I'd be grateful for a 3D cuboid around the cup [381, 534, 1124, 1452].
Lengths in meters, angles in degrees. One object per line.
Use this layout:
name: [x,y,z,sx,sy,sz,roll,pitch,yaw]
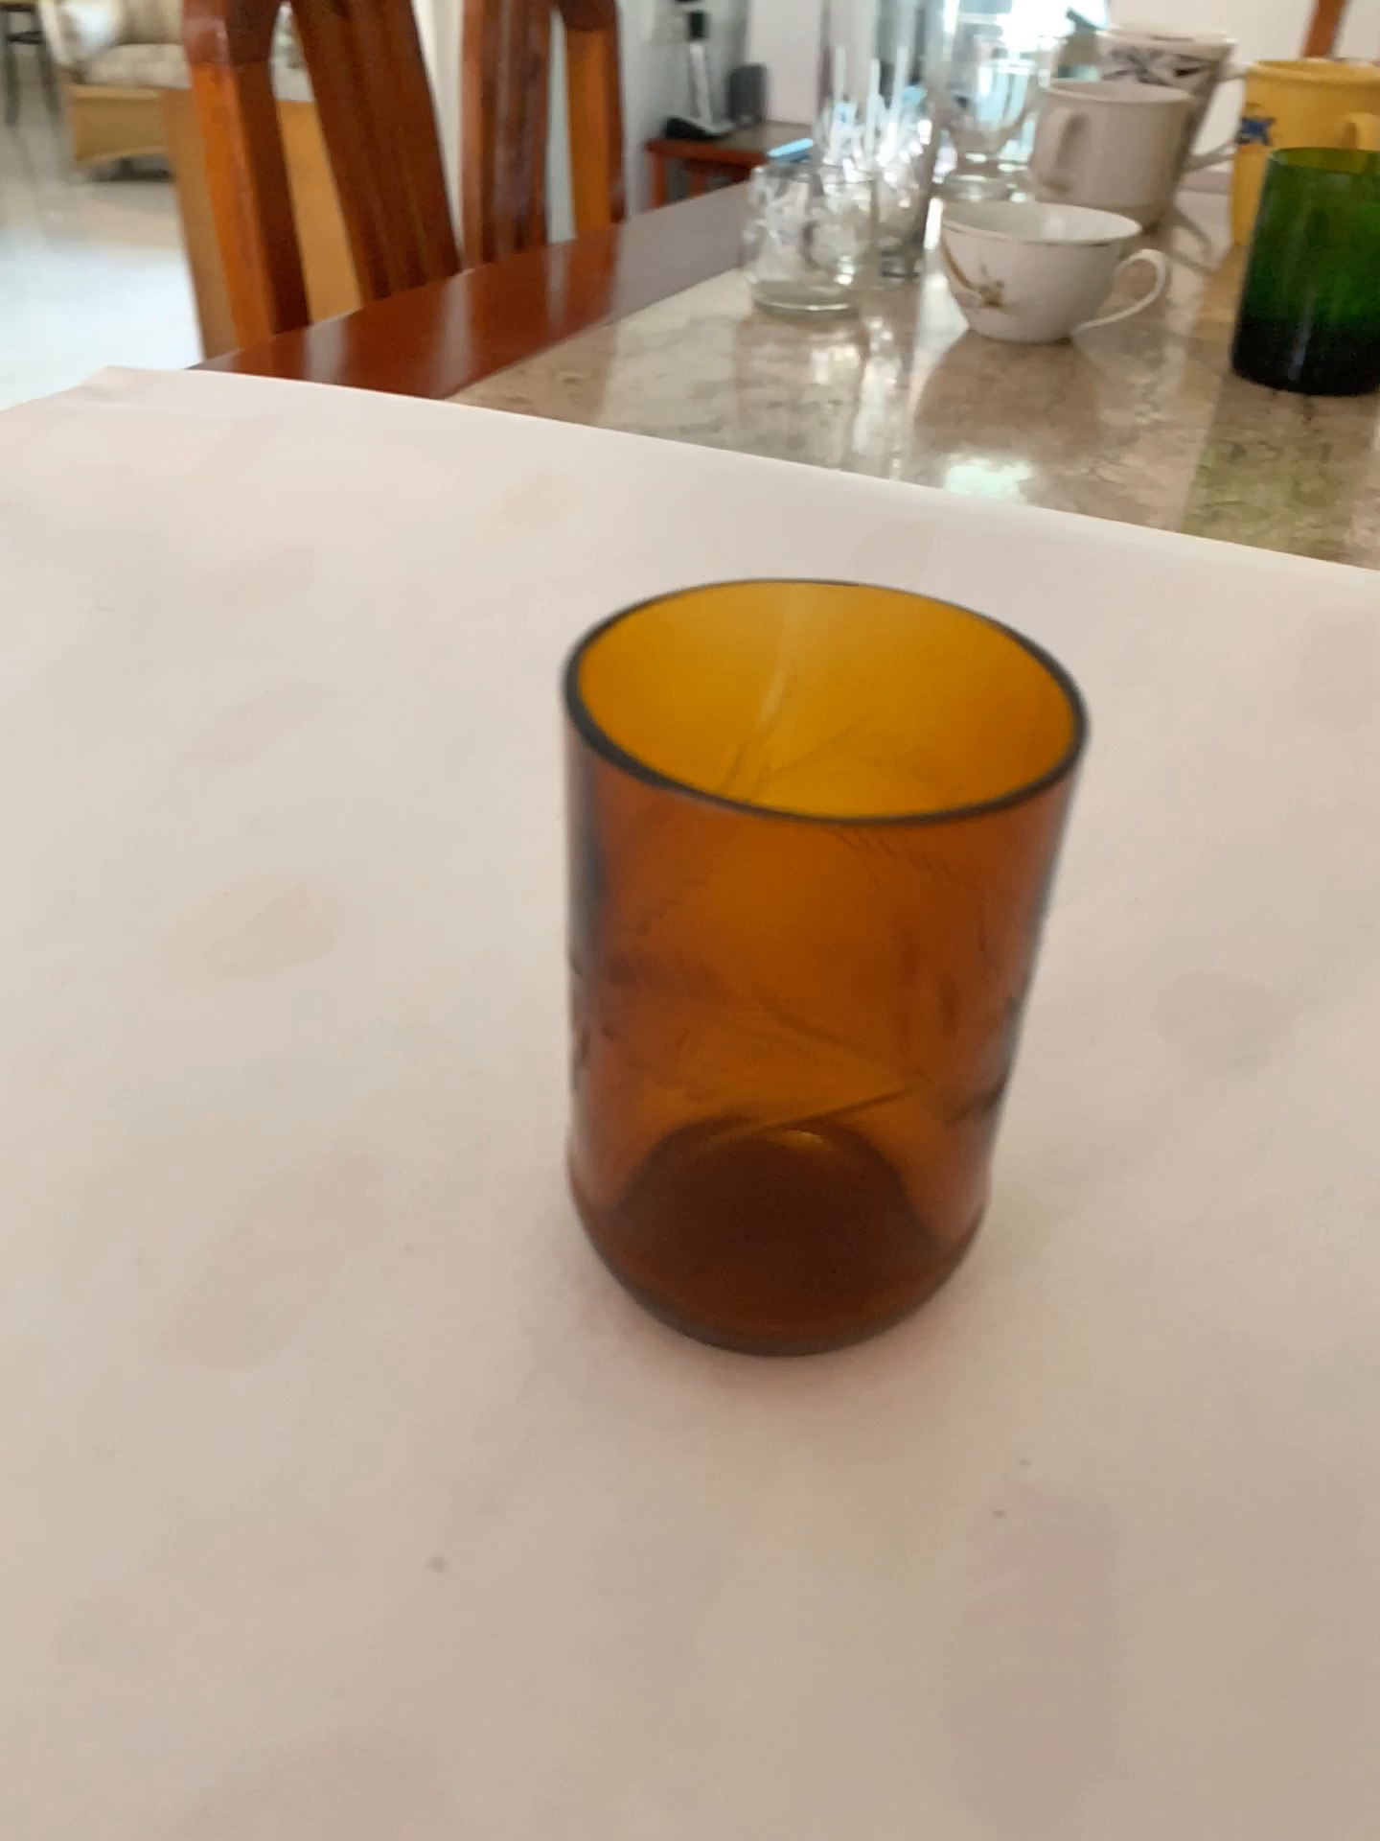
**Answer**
cup: [0.010,0.006,0.201,0.070,0.089,0.070,2,35,-1]
